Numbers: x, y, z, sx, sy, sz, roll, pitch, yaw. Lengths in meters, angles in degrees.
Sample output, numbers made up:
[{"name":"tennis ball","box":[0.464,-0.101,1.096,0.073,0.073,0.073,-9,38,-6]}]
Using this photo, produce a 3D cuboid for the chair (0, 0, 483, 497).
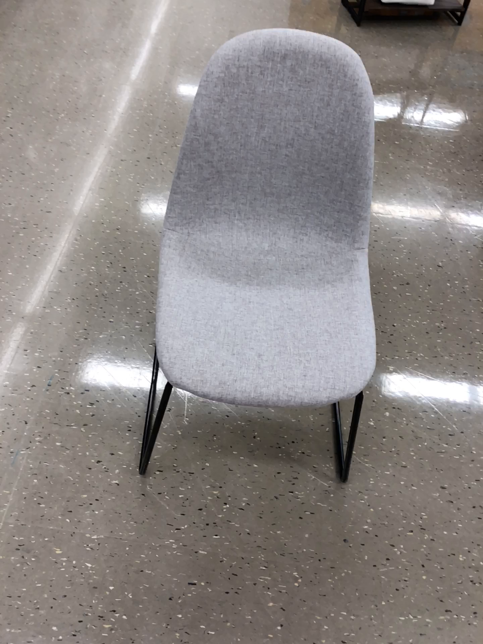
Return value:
[{"name":"chair","box":[0.010,-0.085,1.089,0.590,0.778,0.581,5,53,-1]}]
